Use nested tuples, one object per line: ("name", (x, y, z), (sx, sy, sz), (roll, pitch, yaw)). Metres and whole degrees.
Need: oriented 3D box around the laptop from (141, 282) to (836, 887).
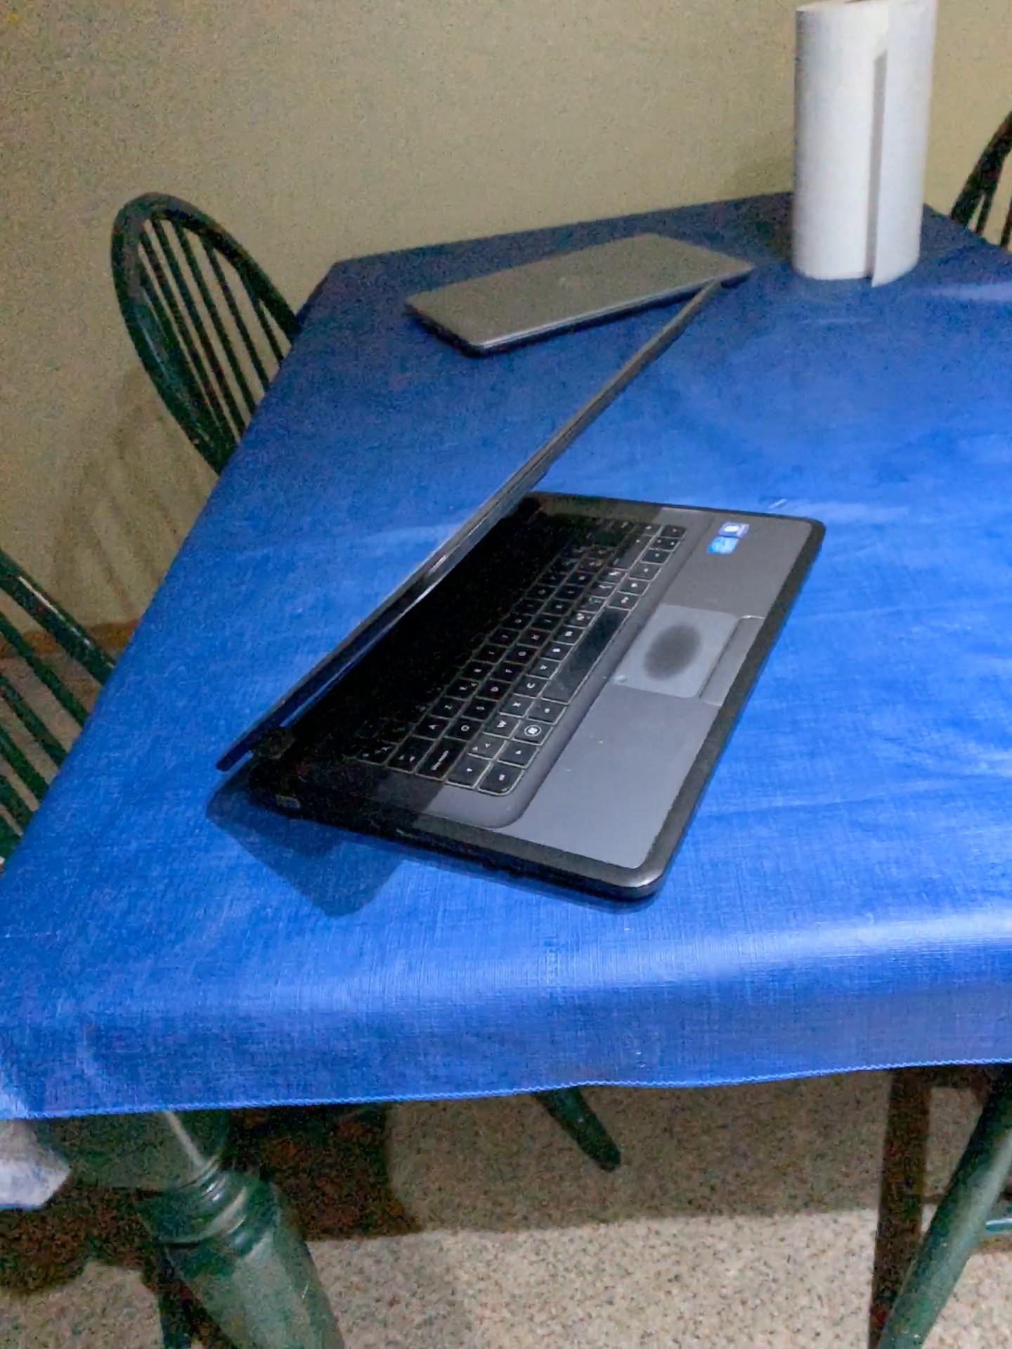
("laptop", (0.027, -0.090, 0.601), (0.244, 0.160, 0.363), (9, 38, 26))
